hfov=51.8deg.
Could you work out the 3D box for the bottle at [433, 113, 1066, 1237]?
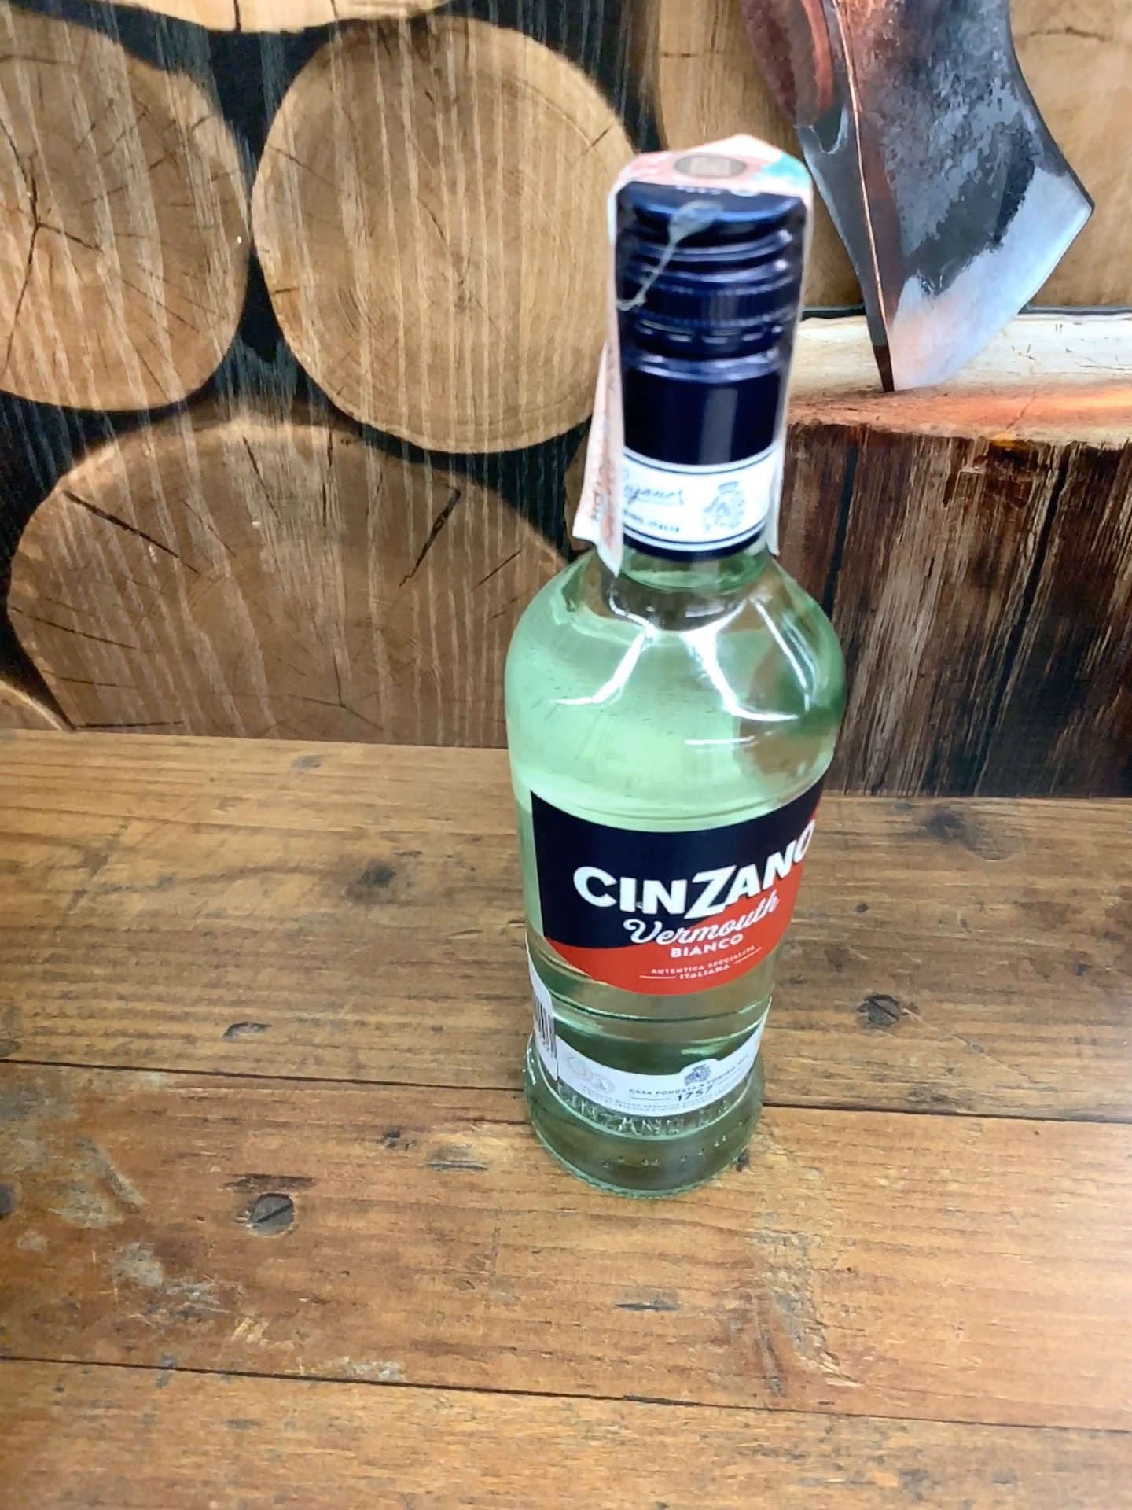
[{"bbox_3d":[0.020,0.006,0.241,0.070,0.231,0.070,0,42,0],"label":"bottle"}]
